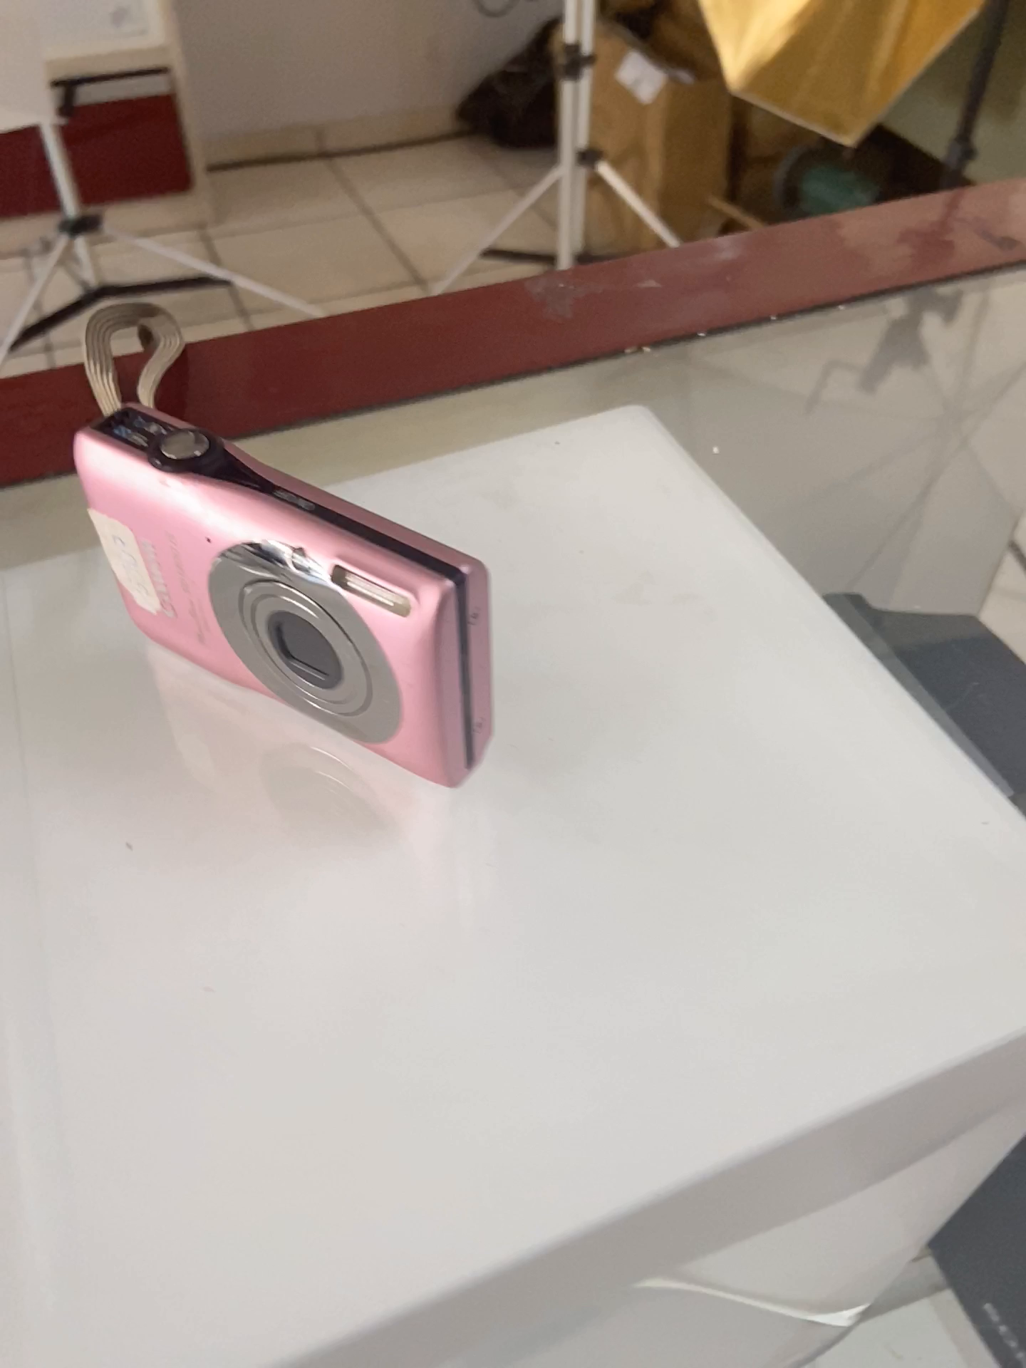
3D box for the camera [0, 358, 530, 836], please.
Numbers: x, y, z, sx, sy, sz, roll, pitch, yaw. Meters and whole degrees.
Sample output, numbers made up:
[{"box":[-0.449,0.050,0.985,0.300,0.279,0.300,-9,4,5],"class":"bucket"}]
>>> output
[{"box":[-0.048,-0.018,0.204,0.100,0.050,0.030,25,51,20],"class":"camera"}]
